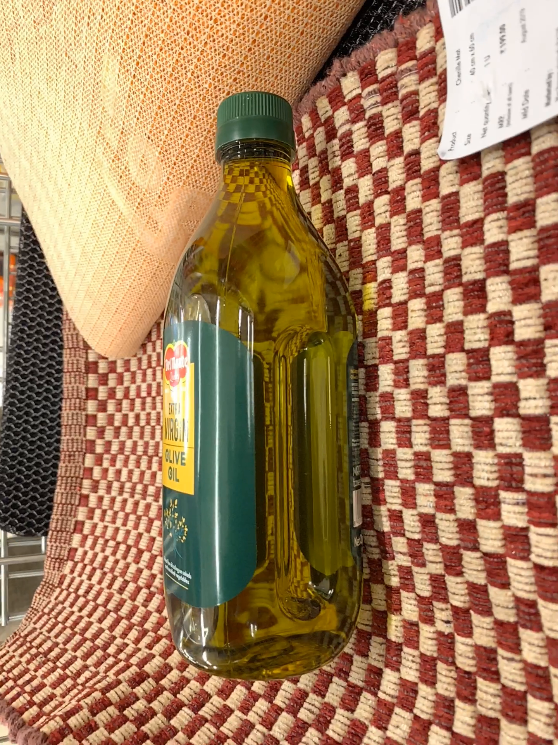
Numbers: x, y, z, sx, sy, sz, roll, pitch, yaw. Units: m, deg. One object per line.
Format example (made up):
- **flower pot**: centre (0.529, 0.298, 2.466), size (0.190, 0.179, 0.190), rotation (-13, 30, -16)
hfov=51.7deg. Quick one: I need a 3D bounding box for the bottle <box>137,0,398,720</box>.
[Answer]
- **bottle**: centre (-0.006, -0.005, 0.257), size (0.081, 0.079, 0.250), rotation (0, 88, 50)
